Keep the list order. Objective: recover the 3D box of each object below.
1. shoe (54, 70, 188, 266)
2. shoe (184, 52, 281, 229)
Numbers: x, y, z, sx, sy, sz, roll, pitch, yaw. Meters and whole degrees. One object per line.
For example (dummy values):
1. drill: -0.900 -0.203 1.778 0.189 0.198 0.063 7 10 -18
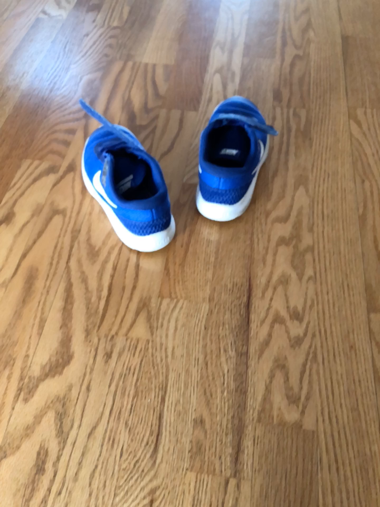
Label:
1. shoe: -0.084 -0.108 0.501 0.093 0.092 0.215 -18 57 -11
2. shoe: 0.057 -0.149 0.535 0.093 0.092 0.215 7 56 5
